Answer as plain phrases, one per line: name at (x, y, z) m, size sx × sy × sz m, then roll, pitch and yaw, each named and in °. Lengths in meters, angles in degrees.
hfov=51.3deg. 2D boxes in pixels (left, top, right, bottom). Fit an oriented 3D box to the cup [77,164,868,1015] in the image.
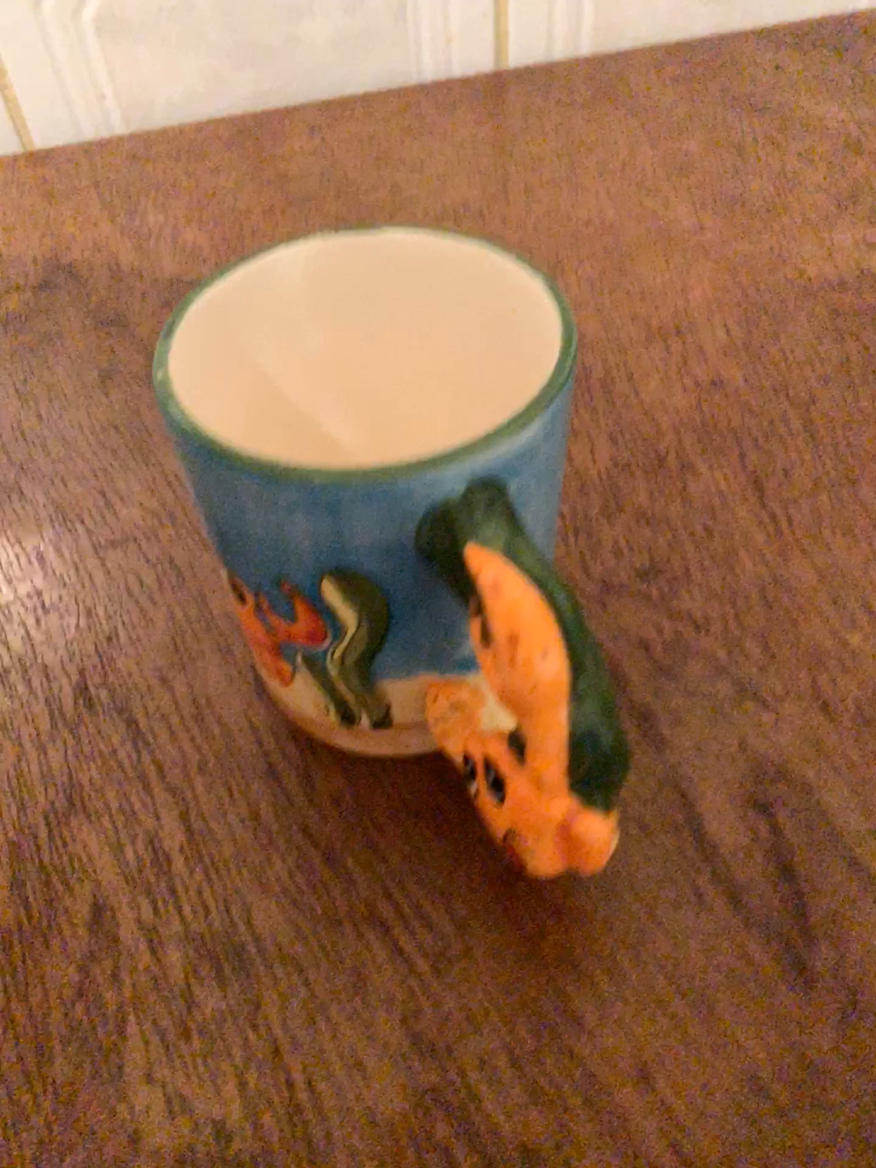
cup at (-0.003, -0.004, 0.195) m, size 0.080 × 0.100 × 0.130 m, roll -25°, pitch 53°, yaw -17°
